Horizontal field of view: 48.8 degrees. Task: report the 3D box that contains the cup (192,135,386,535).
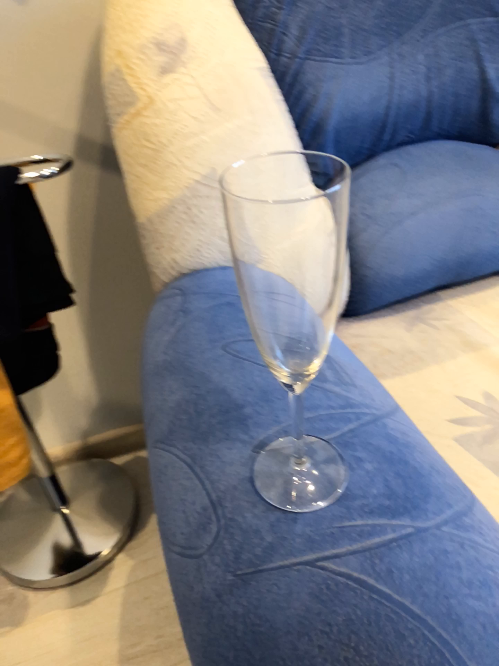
[{"bbox_3d":[0.025,0.009,0.319,0.072,0.214,0.077,-5,34,3],"label":"cup"}]
